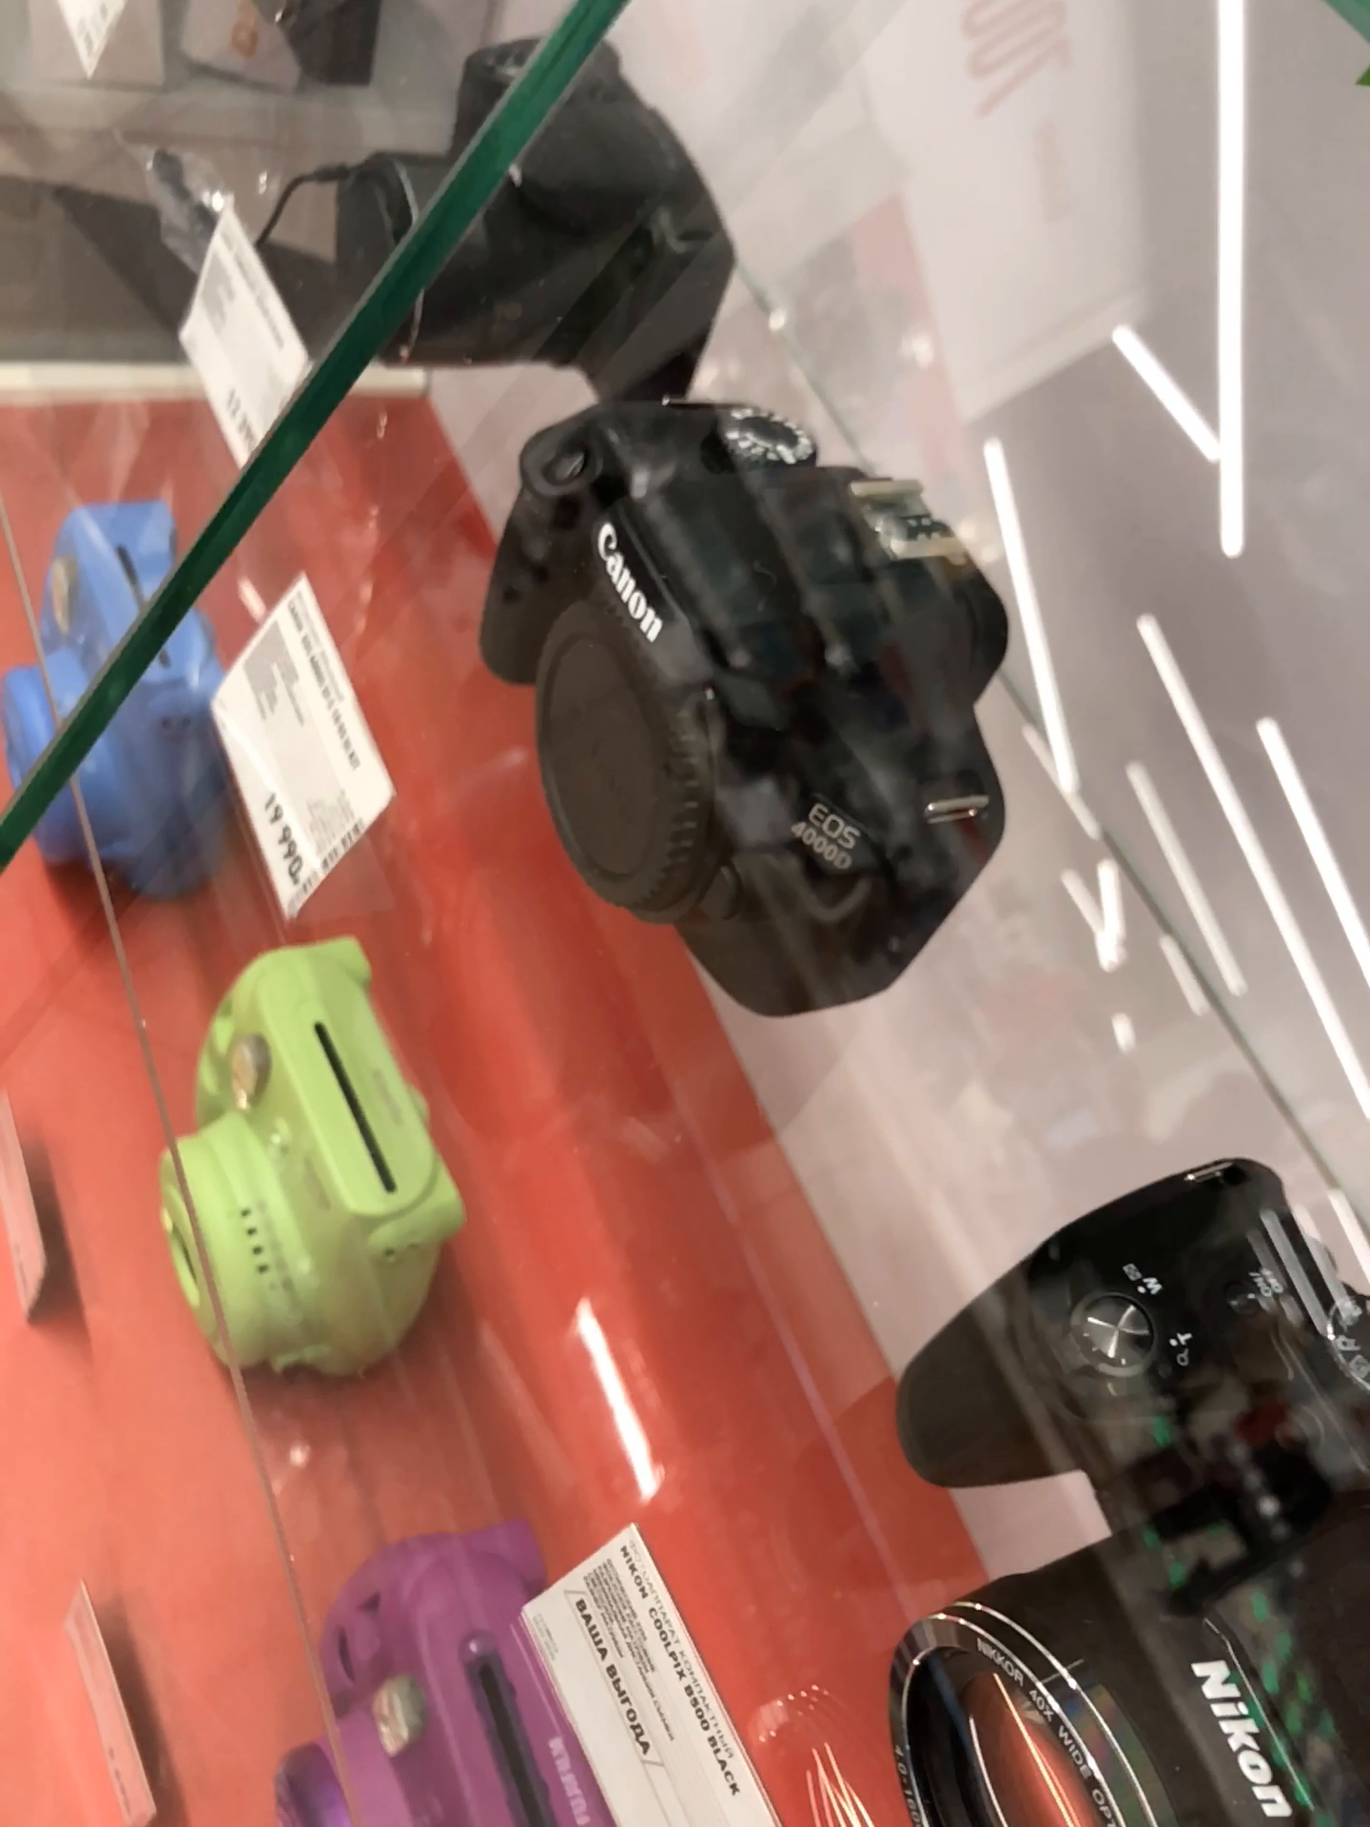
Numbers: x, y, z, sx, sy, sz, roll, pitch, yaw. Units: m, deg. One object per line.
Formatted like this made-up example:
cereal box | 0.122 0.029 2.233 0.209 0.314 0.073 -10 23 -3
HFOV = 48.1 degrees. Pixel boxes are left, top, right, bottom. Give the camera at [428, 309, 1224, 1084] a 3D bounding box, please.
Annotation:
camera | 0.021 -0.053 0.335 0.100 0.083 0.136 -13 61 -28
